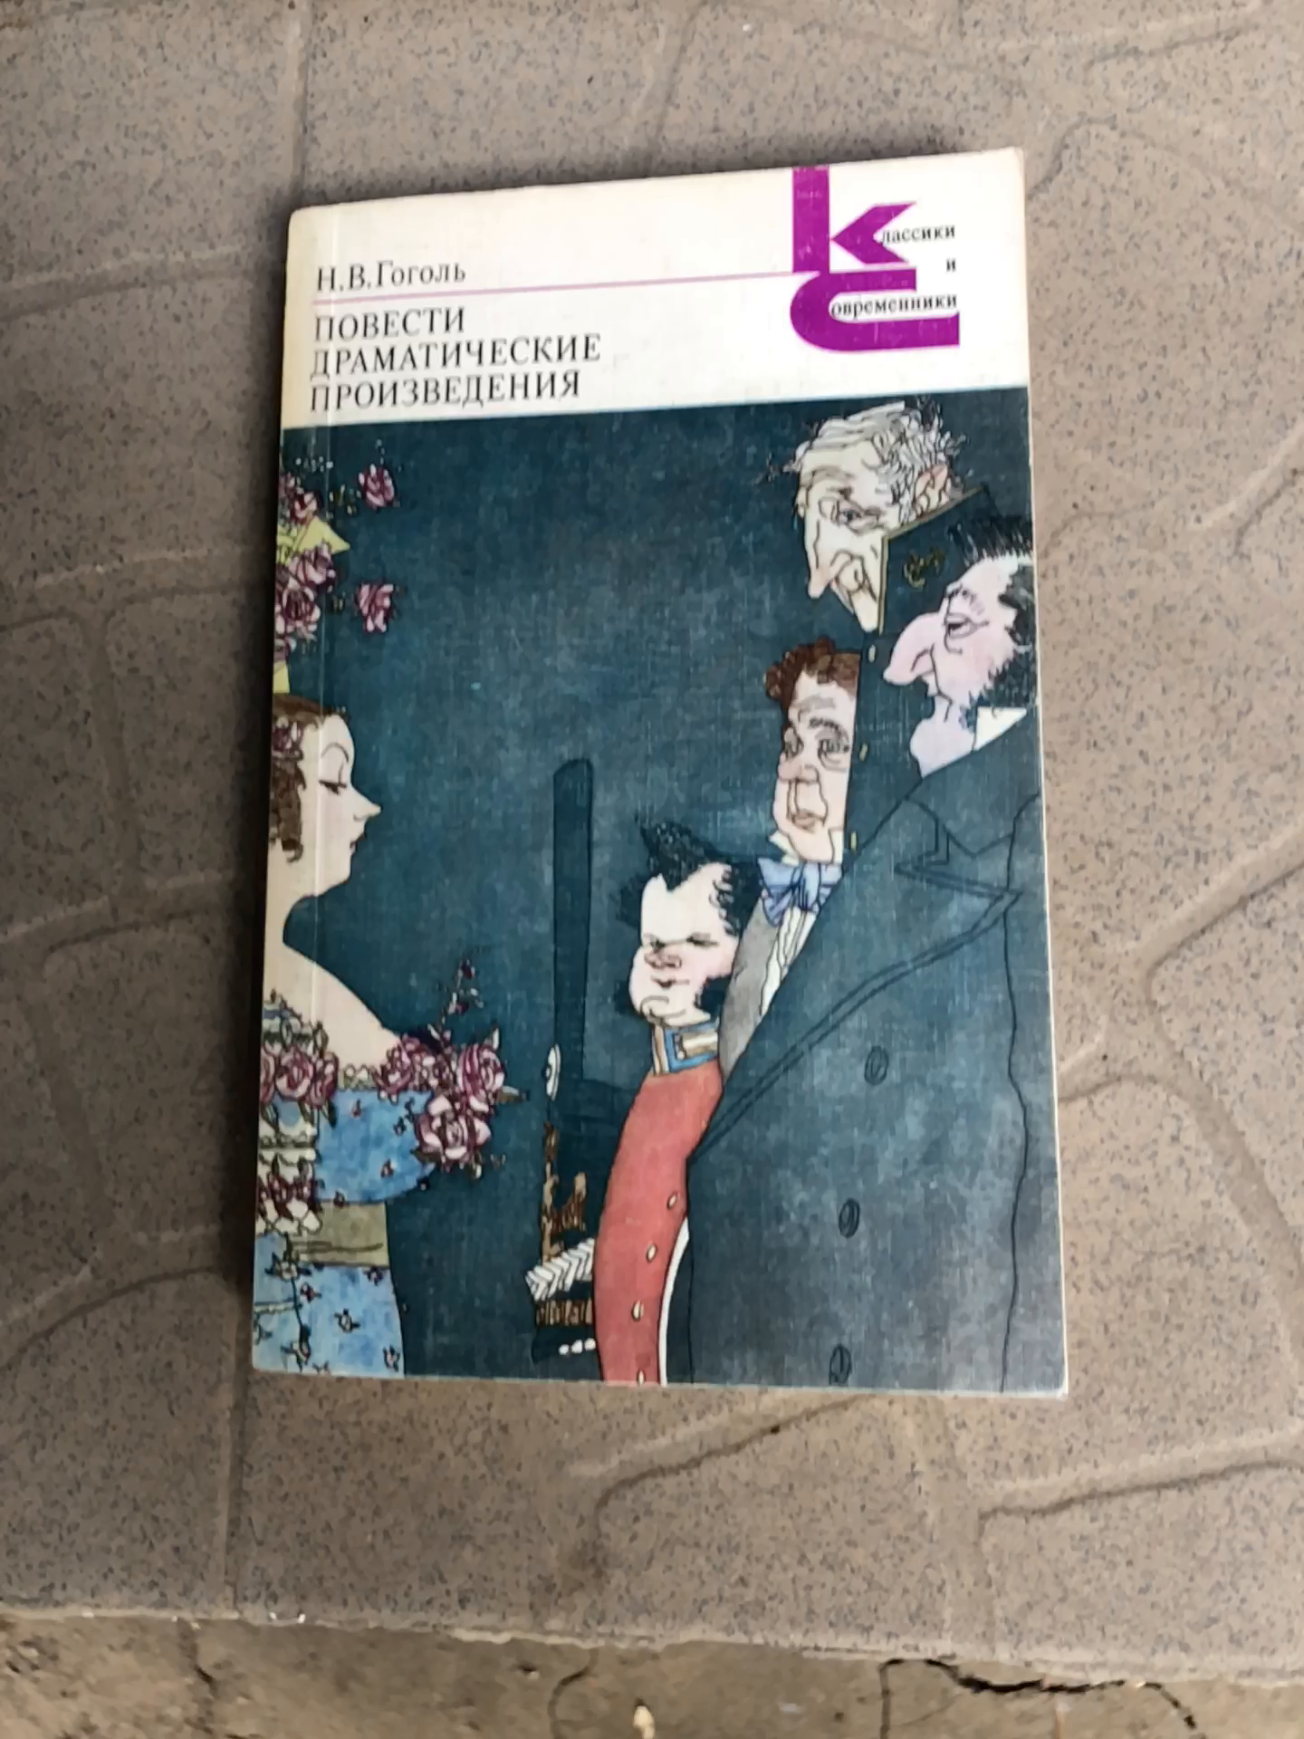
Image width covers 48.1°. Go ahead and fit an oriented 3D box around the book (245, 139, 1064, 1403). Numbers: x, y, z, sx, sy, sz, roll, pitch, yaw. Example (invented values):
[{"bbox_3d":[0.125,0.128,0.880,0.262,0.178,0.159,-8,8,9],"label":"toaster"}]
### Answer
[{"bbox_3d":[0.000,-0.018,0.239,0.123,0.021,0.193,-1,83,8],"label":"book"}]
